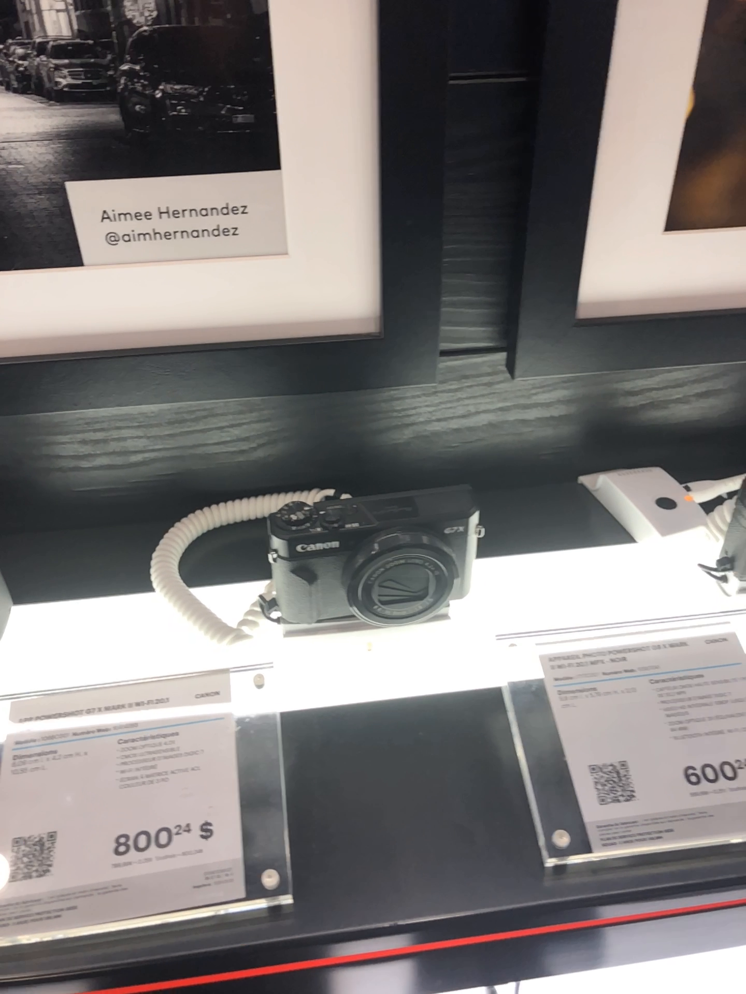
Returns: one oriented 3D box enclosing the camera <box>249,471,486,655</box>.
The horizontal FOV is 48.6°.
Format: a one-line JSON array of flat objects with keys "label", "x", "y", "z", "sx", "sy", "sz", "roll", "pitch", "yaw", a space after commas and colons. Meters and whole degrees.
[{"label": "camera", "x": -0.003, "y": 0.034, "z": 0.418, "sx": 0.110, "sy": 0.079, "sz": 0.030, "roll": -6, "pitch": 36, "yaw": -8}]
